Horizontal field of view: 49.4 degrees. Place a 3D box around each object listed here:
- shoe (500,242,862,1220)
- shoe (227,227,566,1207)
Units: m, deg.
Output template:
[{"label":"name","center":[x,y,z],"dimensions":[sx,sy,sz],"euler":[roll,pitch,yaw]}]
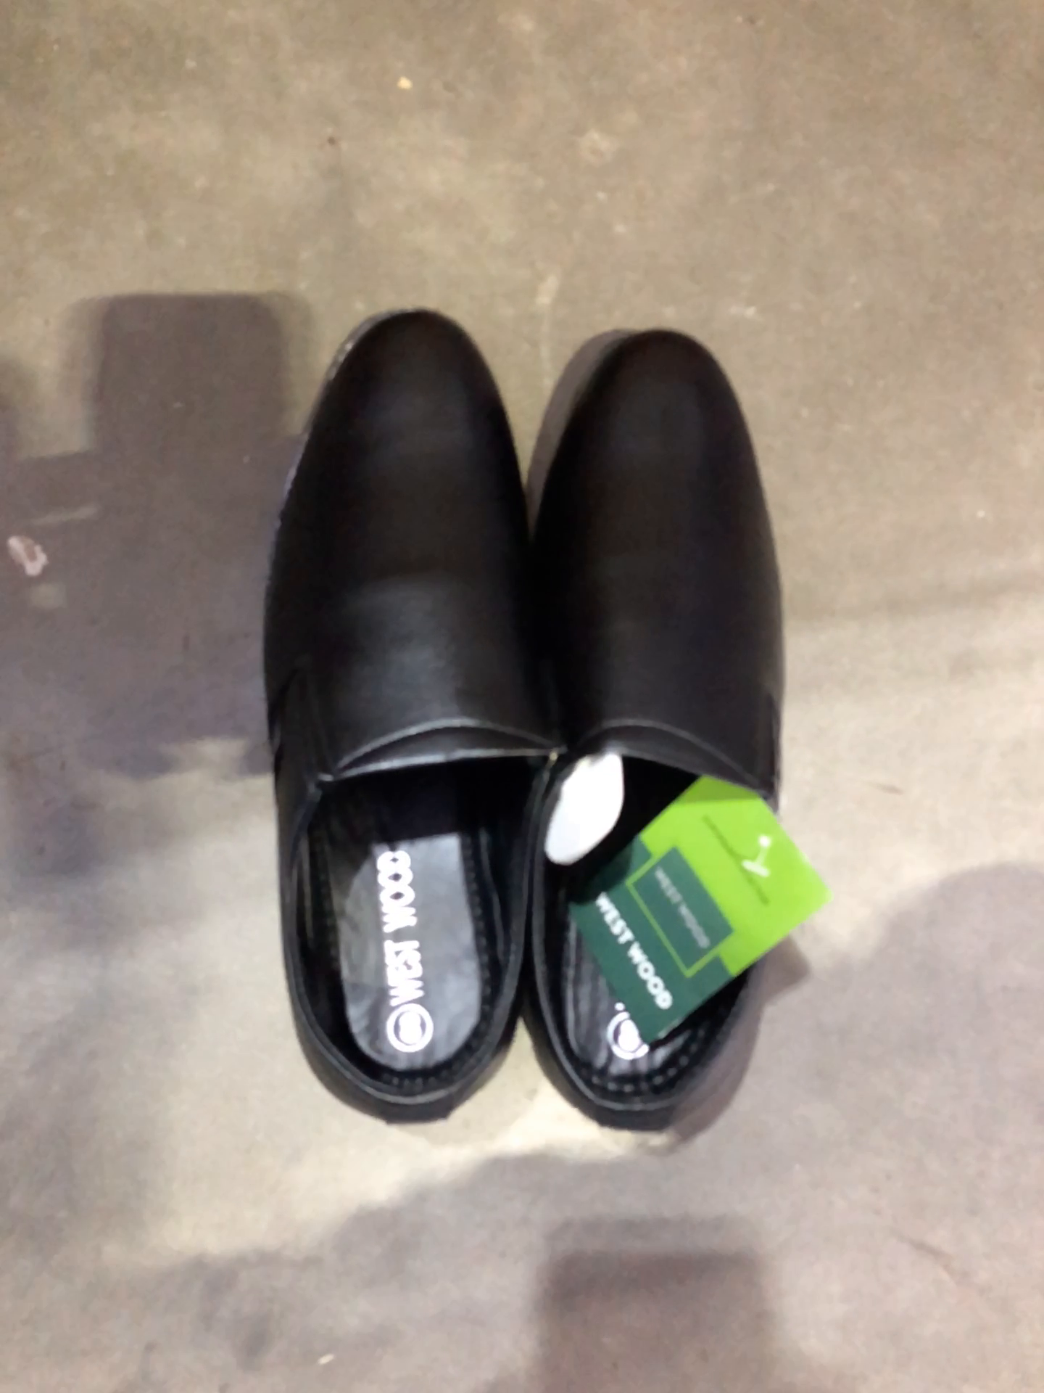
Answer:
[{"label":"shoe","center":[0.051,0.010,0.398],"dimensions":[0.100,0.090,0.300],"euler":[3,85,-2]},{"label":"shoe","center":[-0.042,0.004,0.399],"dimensions":[0.100,0.100,0.300],"euler":[-1,85,-3]}]
